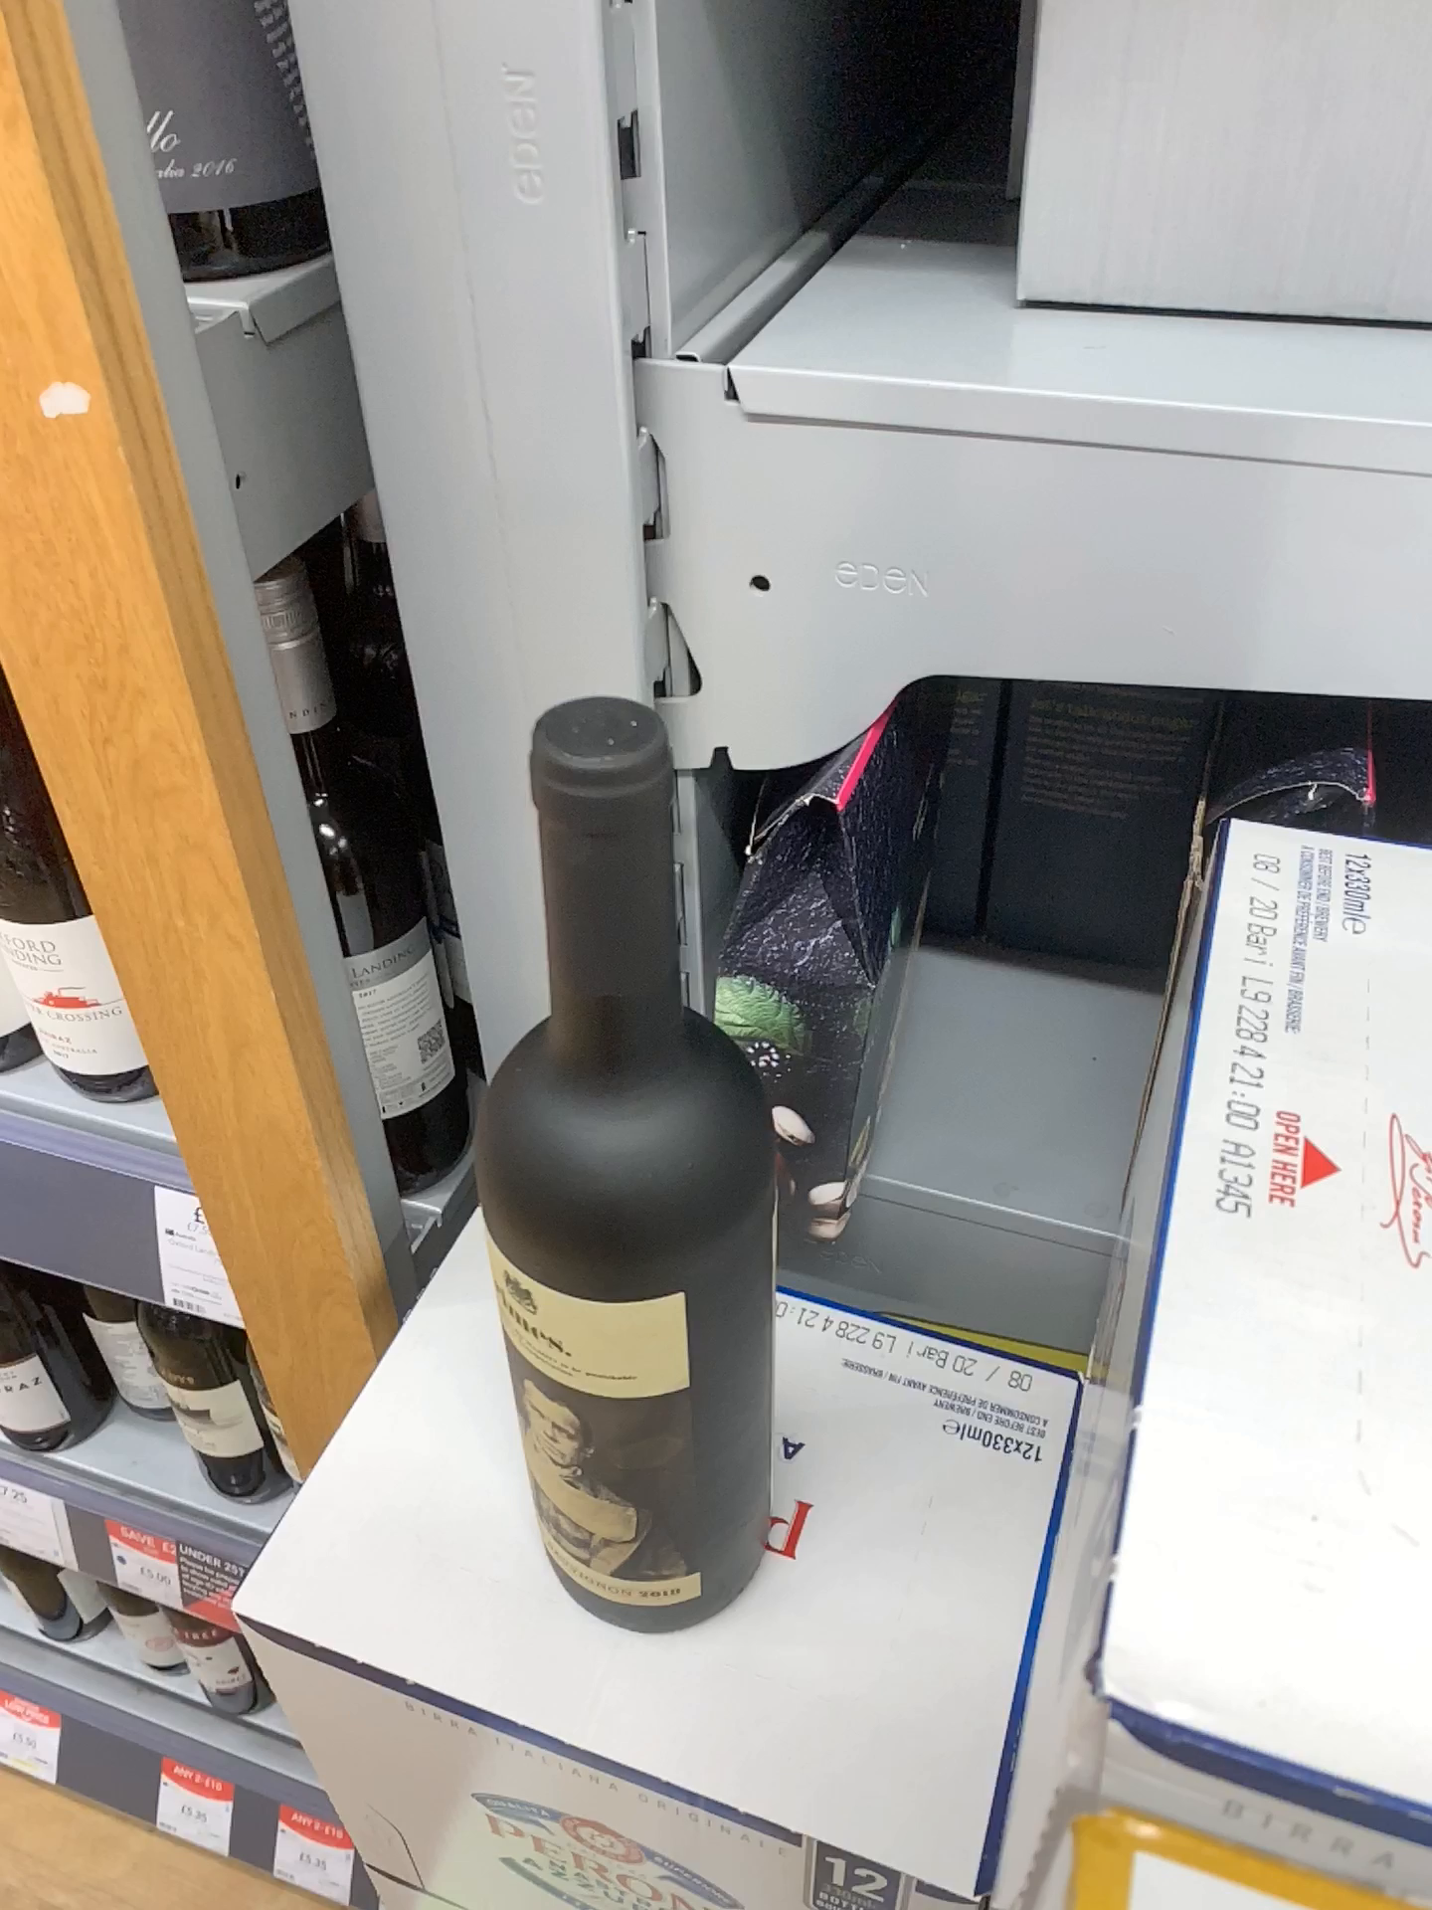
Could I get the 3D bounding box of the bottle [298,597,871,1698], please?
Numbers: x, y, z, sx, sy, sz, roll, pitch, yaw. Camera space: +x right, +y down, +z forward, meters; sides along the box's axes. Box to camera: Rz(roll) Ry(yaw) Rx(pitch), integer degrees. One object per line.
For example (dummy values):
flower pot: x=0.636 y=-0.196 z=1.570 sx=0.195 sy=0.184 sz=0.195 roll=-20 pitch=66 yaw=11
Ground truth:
bottle: x=-0.021 y=0.068 z=0.369 sx=0.078 sy=0.288 sz=0.075 roll=-1 pitch=40 yaw=1
